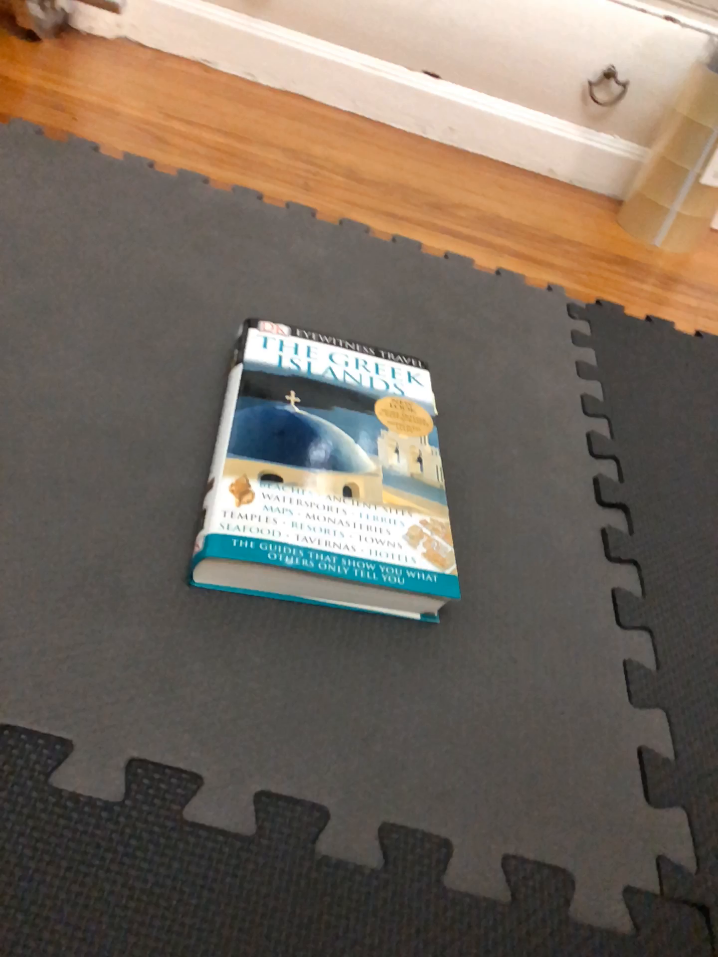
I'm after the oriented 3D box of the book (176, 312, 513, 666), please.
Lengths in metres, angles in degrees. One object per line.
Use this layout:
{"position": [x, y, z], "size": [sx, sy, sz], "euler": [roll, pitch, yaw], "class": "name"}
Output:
{"position": [-0.005, -0.009, 0.472], "size": [0.160, 0.030, 0.241], "euler": [11, 40, -9], "class": "book"}
